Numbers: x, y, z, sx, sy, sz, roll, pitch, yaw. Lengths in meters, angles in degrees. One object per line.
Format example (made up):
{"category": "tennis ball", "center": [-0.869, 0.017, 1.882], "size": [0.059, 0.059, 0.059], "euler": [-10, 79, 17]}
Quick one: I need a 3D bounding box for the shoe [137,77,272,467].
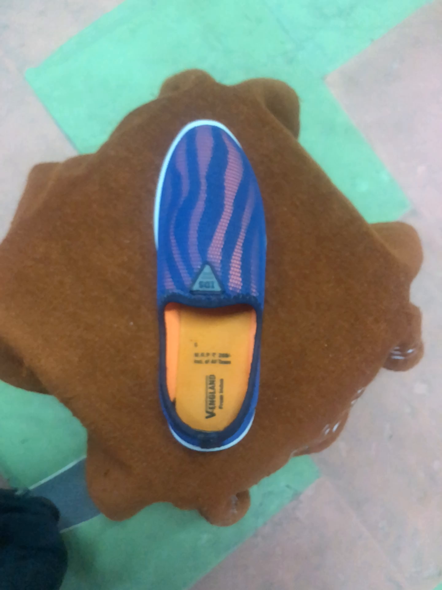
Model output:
{"category": "shoe", "center": [-0.013, -0.016, 0.369], "size": [0.090, 0.070, 0.260], "euler": [0, 89, -4]}
